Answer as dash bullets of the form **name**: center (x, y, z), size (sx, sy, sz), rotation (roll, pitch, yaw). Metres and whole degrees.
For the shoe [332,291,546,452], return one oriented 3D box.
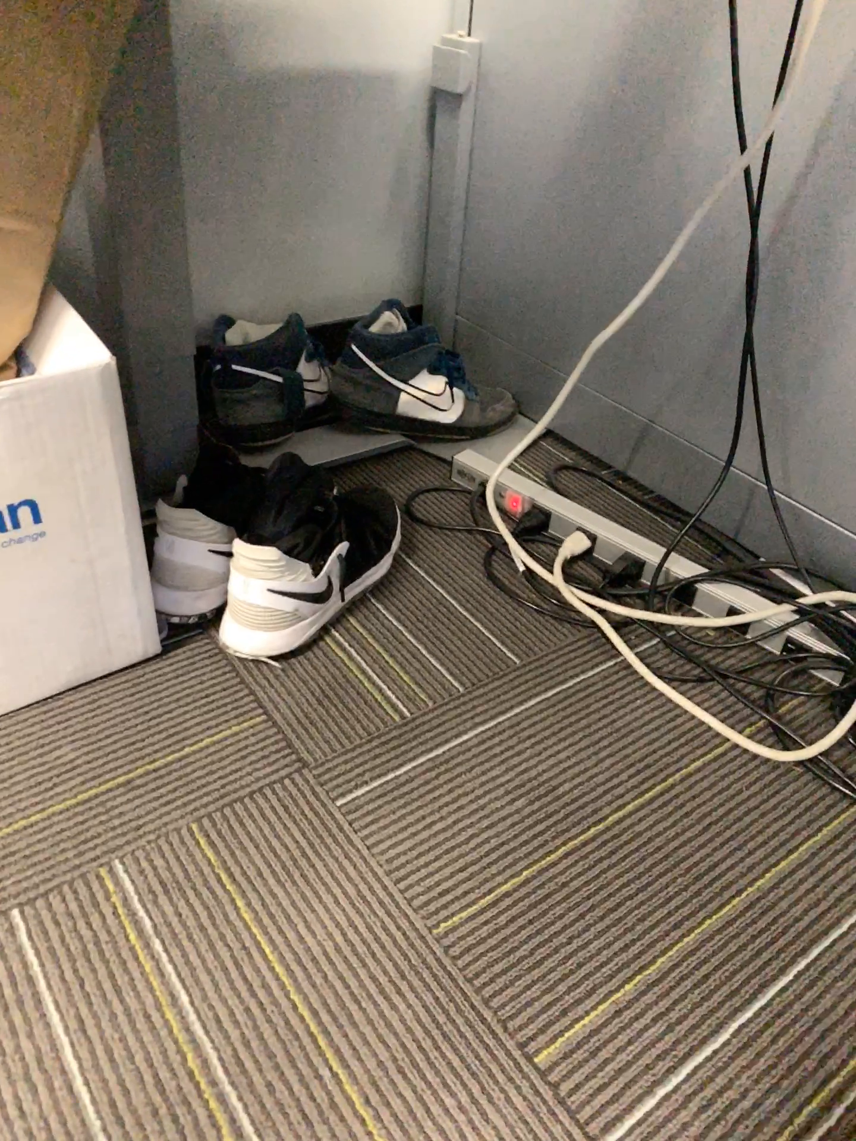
- **shoe**: center (0.008, -0.285, 1.263), size (0.260, 0.159, 0.131), rotation (3, 36, -16)

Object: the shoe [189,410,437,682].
- **shoe**: center (-0.106, -0.038, 0.901), size (0.100, 0.129, 0.291), rotation (21, 40, 19)

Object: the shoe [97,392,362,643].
- **shoe**: center (-0.201, -0.071, 0.958), size (0.100, 0.129, 0.301), rotation (23, 40, 21)

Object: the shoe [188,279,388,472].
- **shoe**: center (-0.189, -0.291, 1.249), size (0.130, 0.169, 0.331), rotation (16, 31, 15)
